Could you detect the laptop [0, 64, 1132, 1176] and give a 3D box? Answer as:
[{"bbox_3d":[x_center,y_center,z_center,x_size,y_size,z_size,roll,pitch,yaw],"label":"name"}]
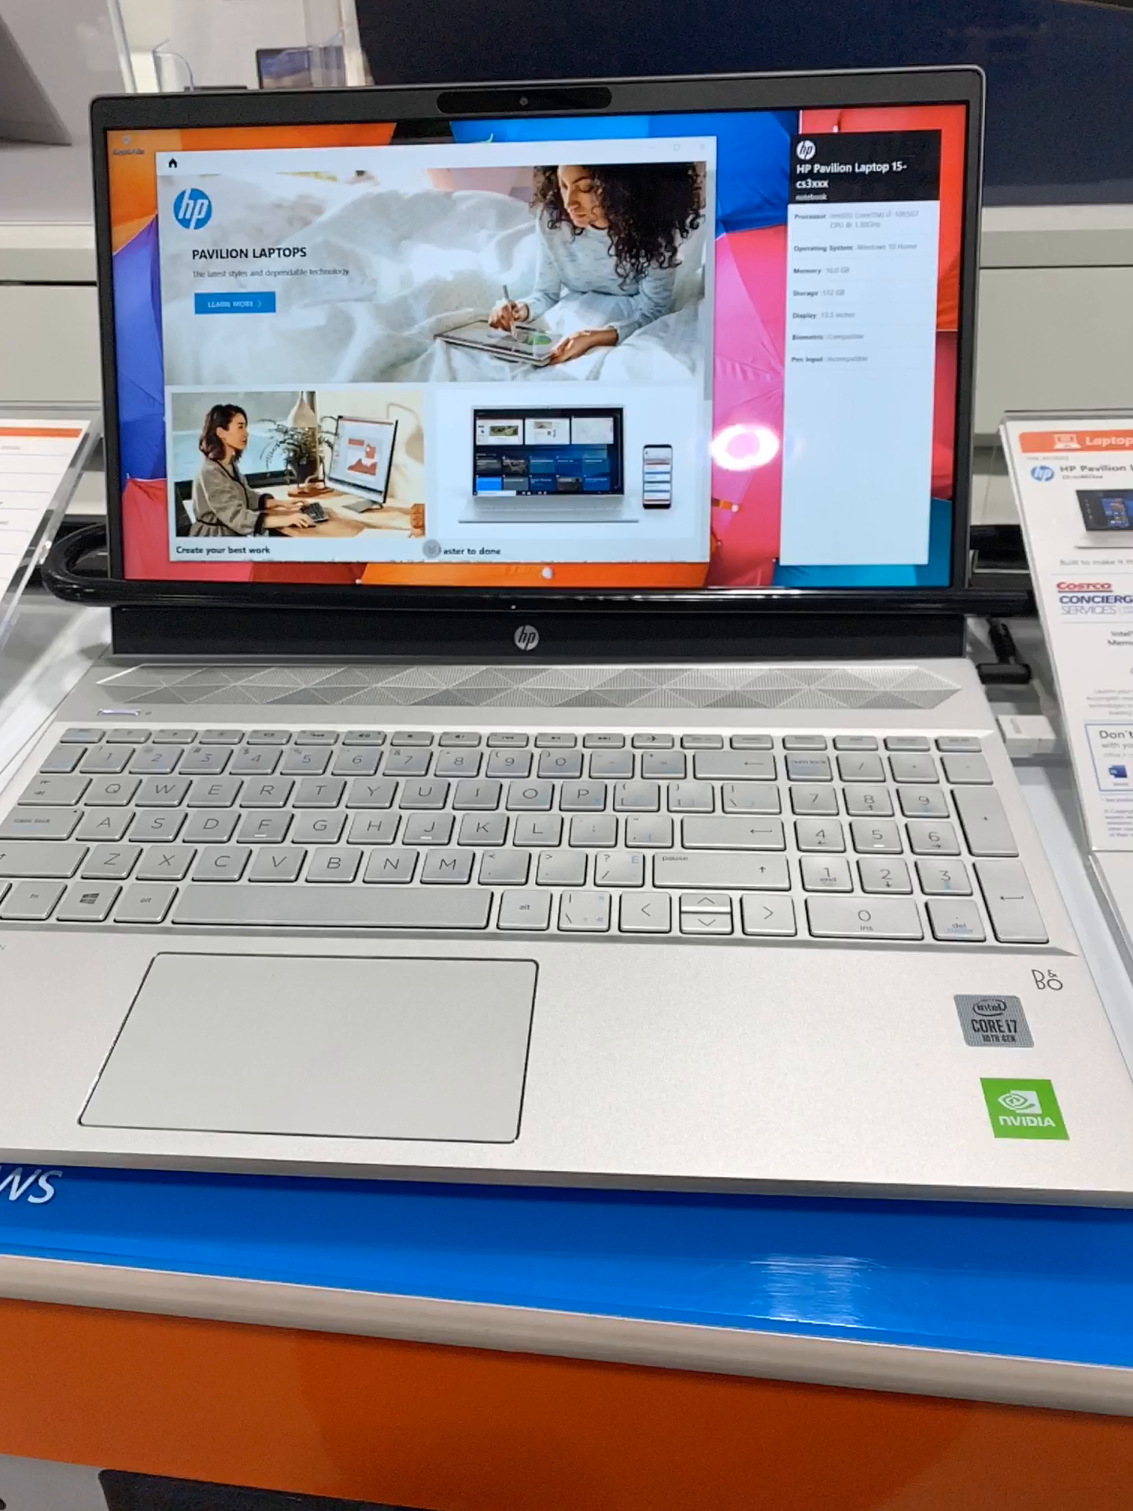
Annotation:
[{"bbox_3d":[-0.021,-0.078,0.354,0.332,0.175,0.335,0,37,4],"label":"laptop"}]
